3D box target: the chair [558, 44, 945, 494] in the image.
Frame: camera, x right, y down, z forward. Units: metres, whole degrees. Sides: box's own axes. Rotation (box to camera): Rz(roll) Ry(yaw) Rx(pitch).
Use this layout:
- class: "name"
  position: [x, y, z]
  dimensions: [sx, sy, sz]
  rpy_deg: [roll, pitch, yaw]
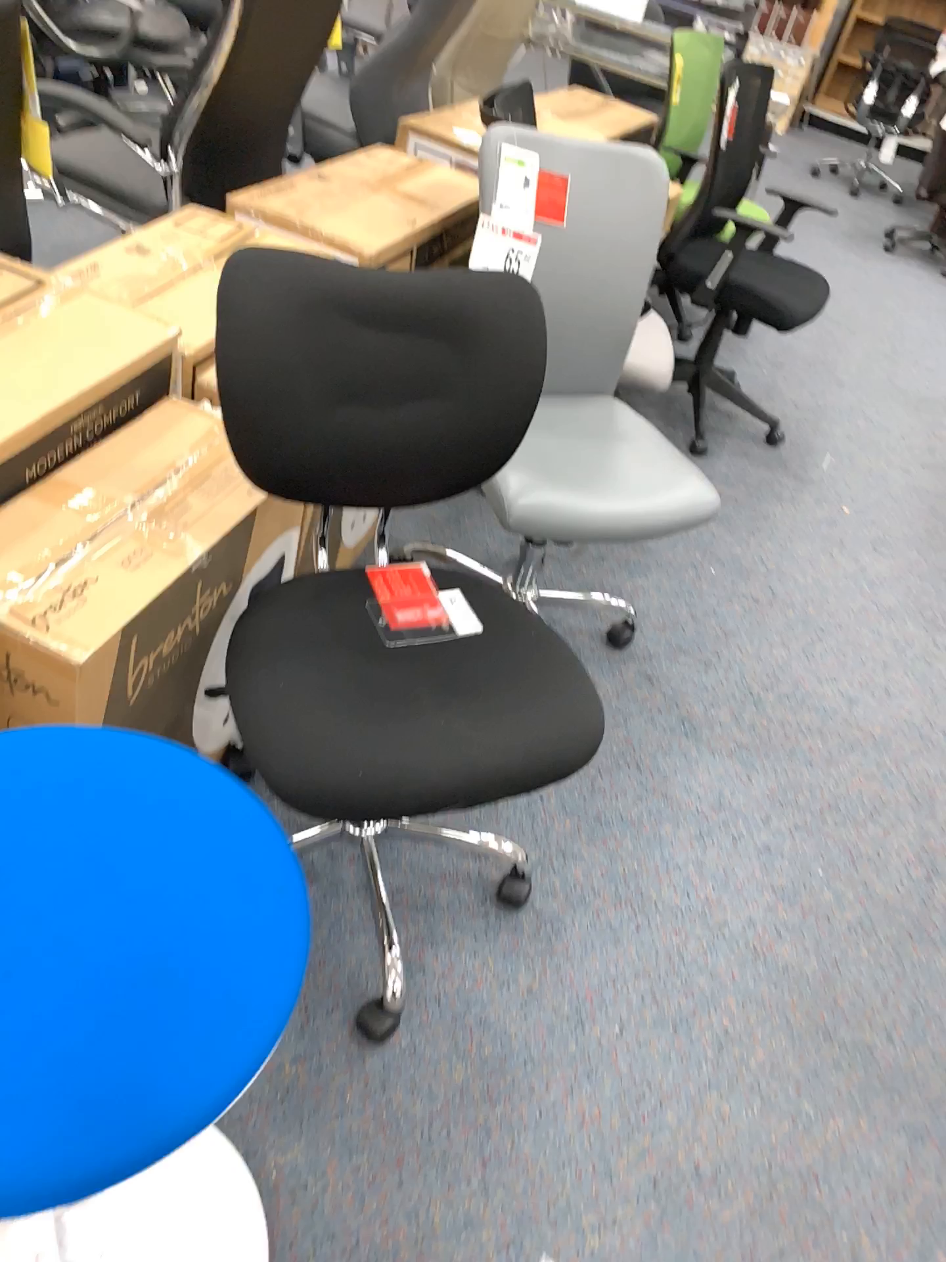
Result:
- class: "chair"
  position: [0.906, -1.184, 3.064]
  dimensions: [0.707, 0.989, 0.981]
  rpy_deg: [27, 39, 13]

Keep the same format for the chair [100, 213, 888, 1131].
- class: "chair"
  position: [-0.111, 0.049, 1.282]
  dimensions: [0.648, 0.880, 0.660]
  rpy_deg: [-5, 43, -25]

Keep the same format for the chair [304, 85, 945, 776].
- class: "chair"
  position: [0.198, -0.376, 1.869]
  dimensions: [0.738, 0.959, 0.709]
  rpy_deg: [-9, 45, -29]
